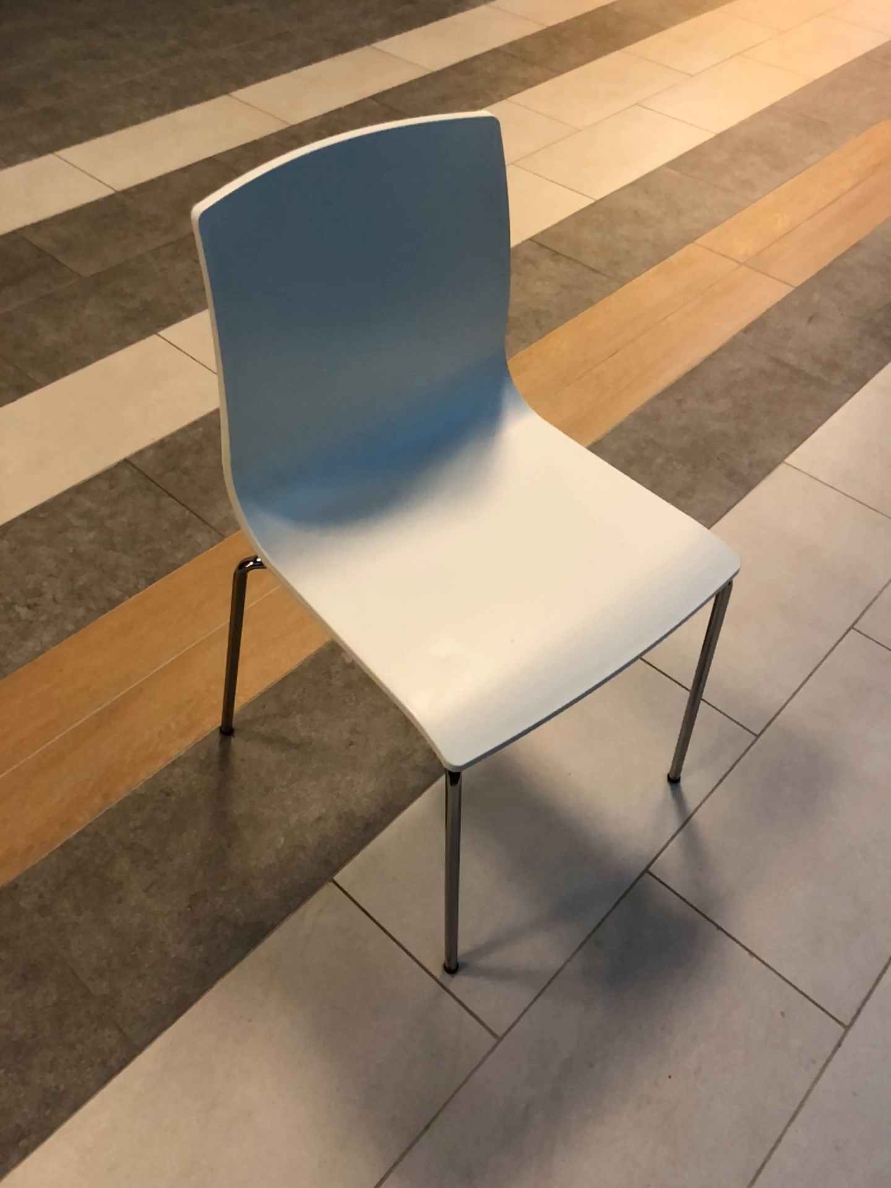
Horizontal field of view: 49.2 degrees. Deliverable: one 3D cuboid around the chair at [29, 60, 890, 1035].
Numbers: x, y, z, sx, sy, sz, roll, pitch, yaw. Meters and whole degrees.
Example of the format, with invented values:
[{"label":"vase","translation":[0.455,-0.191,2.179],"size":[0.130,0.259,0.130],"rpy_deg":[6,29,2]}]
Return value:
[{"label":"chair","translation":[0.036,-0.045,1.111],"size":[0.582,0.776,0.552],"rpy_deg":[-34,57,-28]}]
